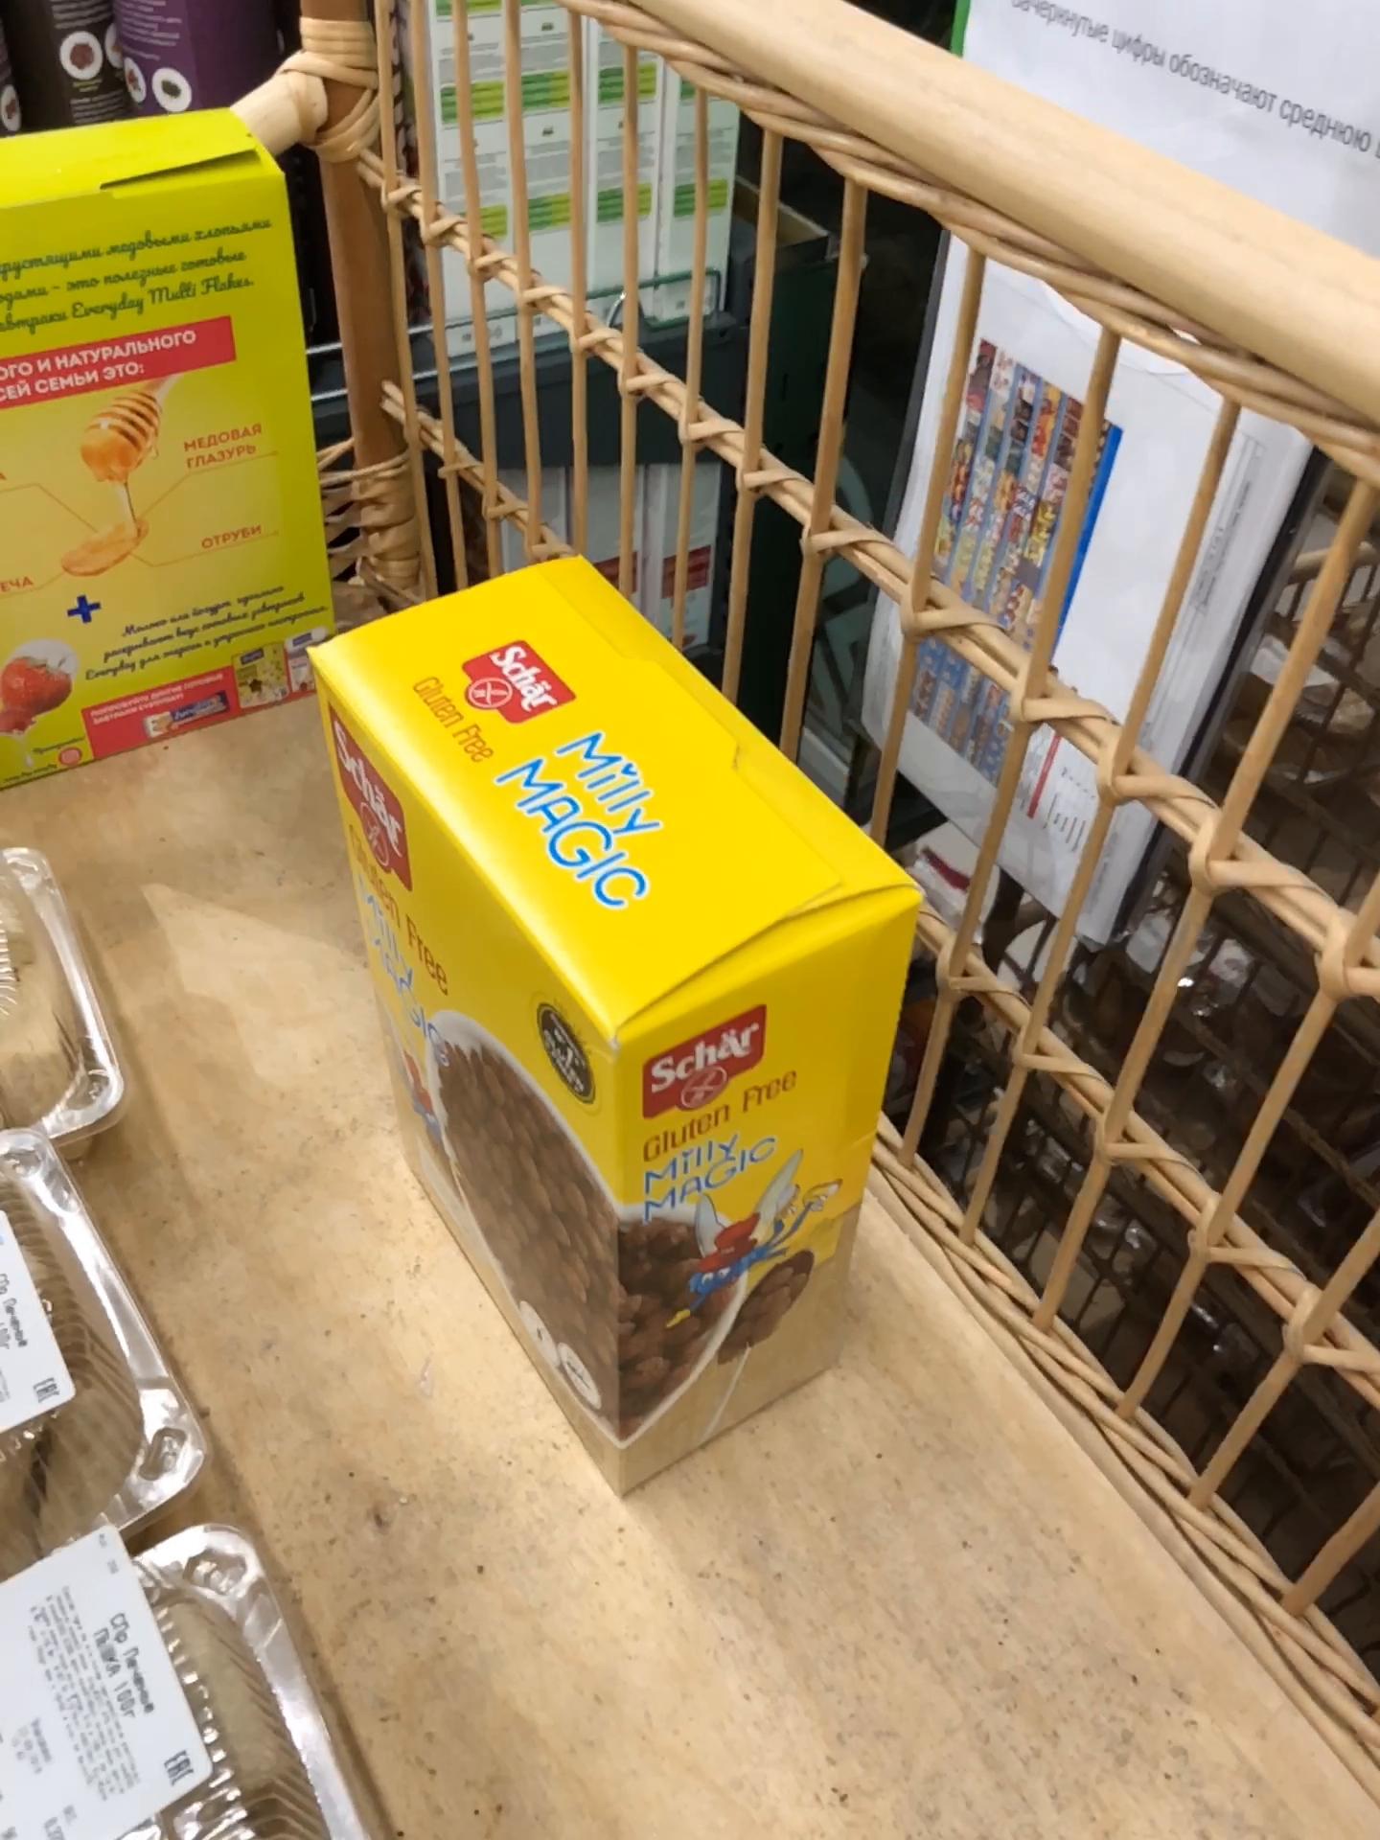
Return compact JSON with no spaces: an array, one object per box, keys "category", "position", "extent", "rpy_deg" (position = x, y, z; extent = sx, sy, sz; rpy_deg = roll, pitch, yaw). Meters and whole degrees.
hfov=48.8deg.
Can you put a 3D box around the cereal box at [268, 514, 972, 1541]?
[{"category":"cereal box","position":[-0.024,0.034,0.402],"extent":[0.080,0.209,0.161],"rpy_deg":[-24,52,-22]}]
